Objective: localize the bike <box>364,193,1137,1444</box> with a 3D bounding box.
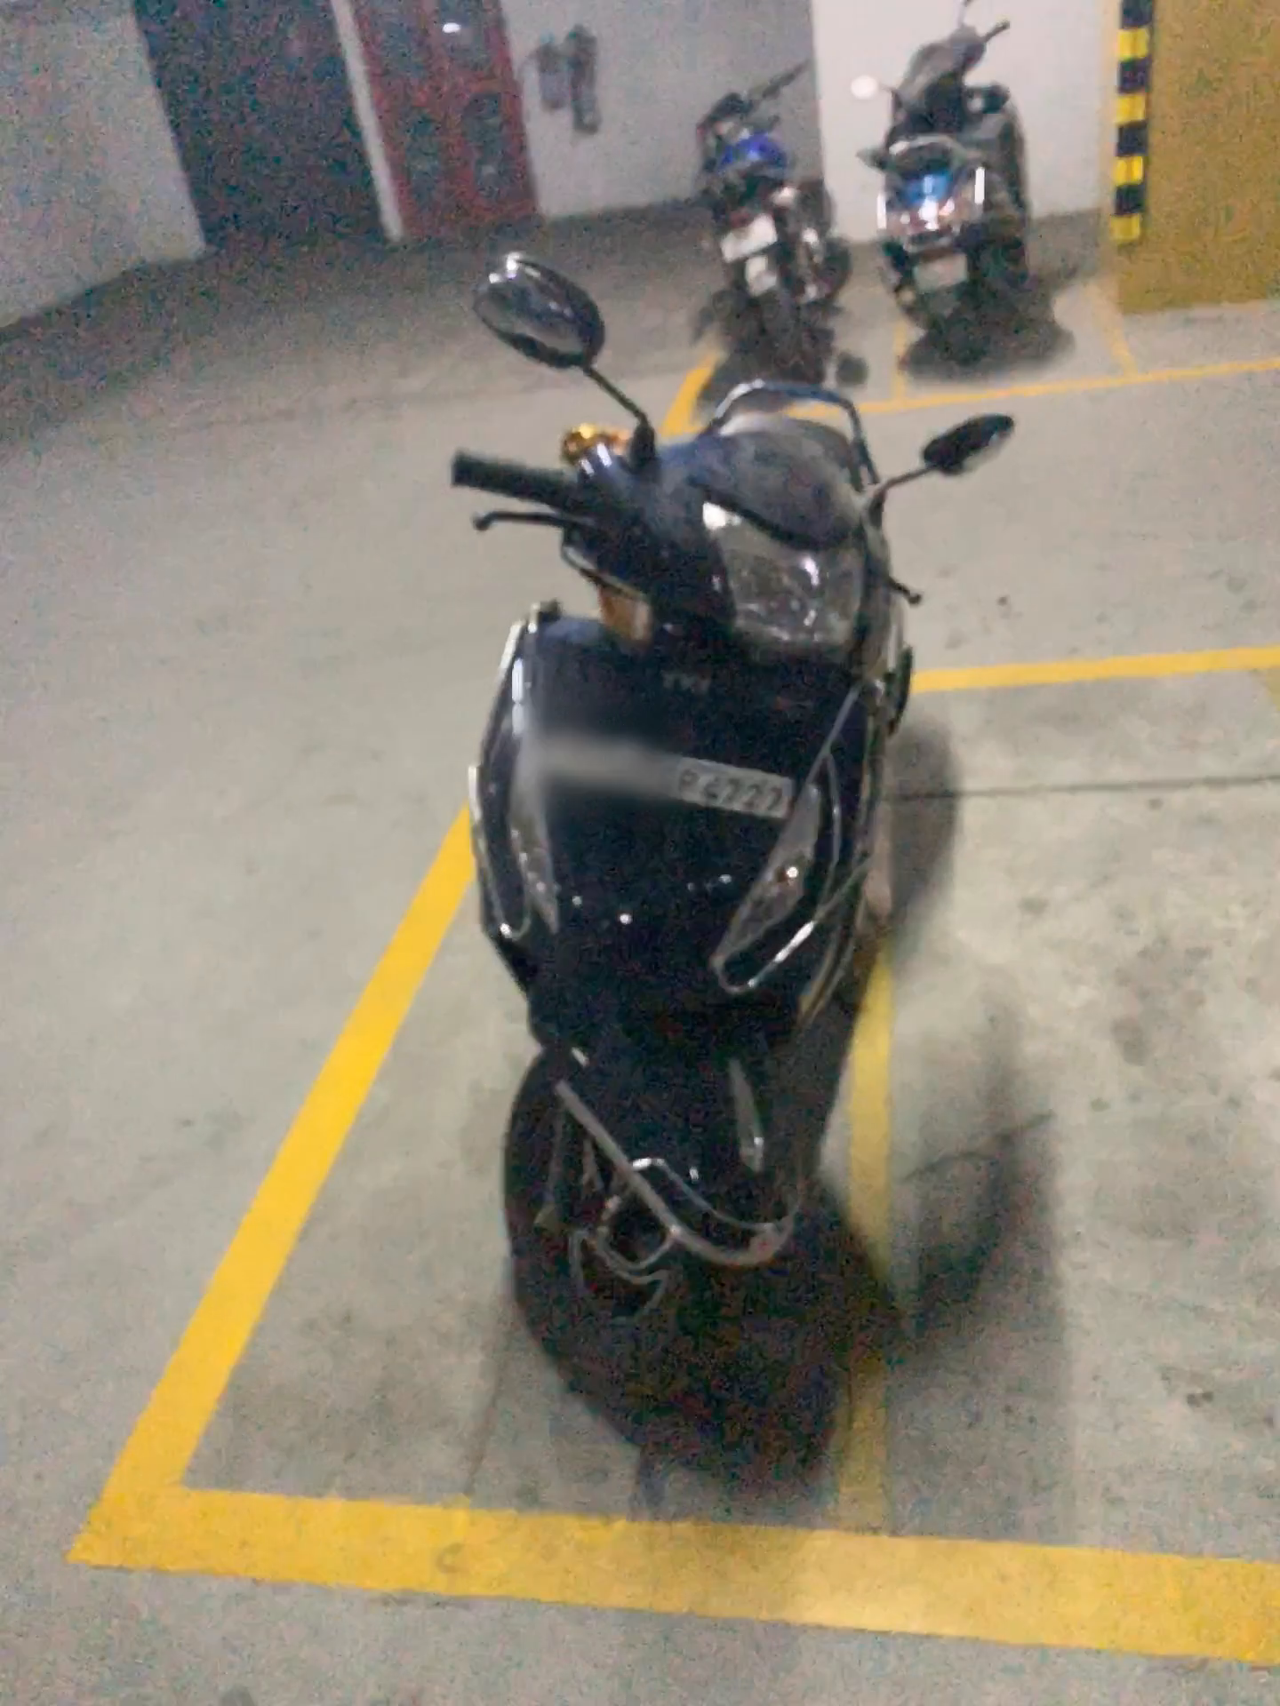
[{"bbox_3d":[0.220,-0.213,2.068,0.664,1.028,1.701,-5,37,9],"label":"bike"}]
